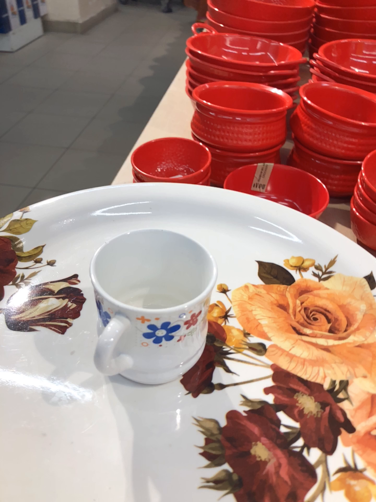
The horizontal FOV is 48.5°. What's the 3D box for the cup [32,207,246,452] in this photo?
[{"bbox_3d":[-0.019,0.037,0.226,0.070,0.070,0.091,16,42,16],"label":"cup"}]
